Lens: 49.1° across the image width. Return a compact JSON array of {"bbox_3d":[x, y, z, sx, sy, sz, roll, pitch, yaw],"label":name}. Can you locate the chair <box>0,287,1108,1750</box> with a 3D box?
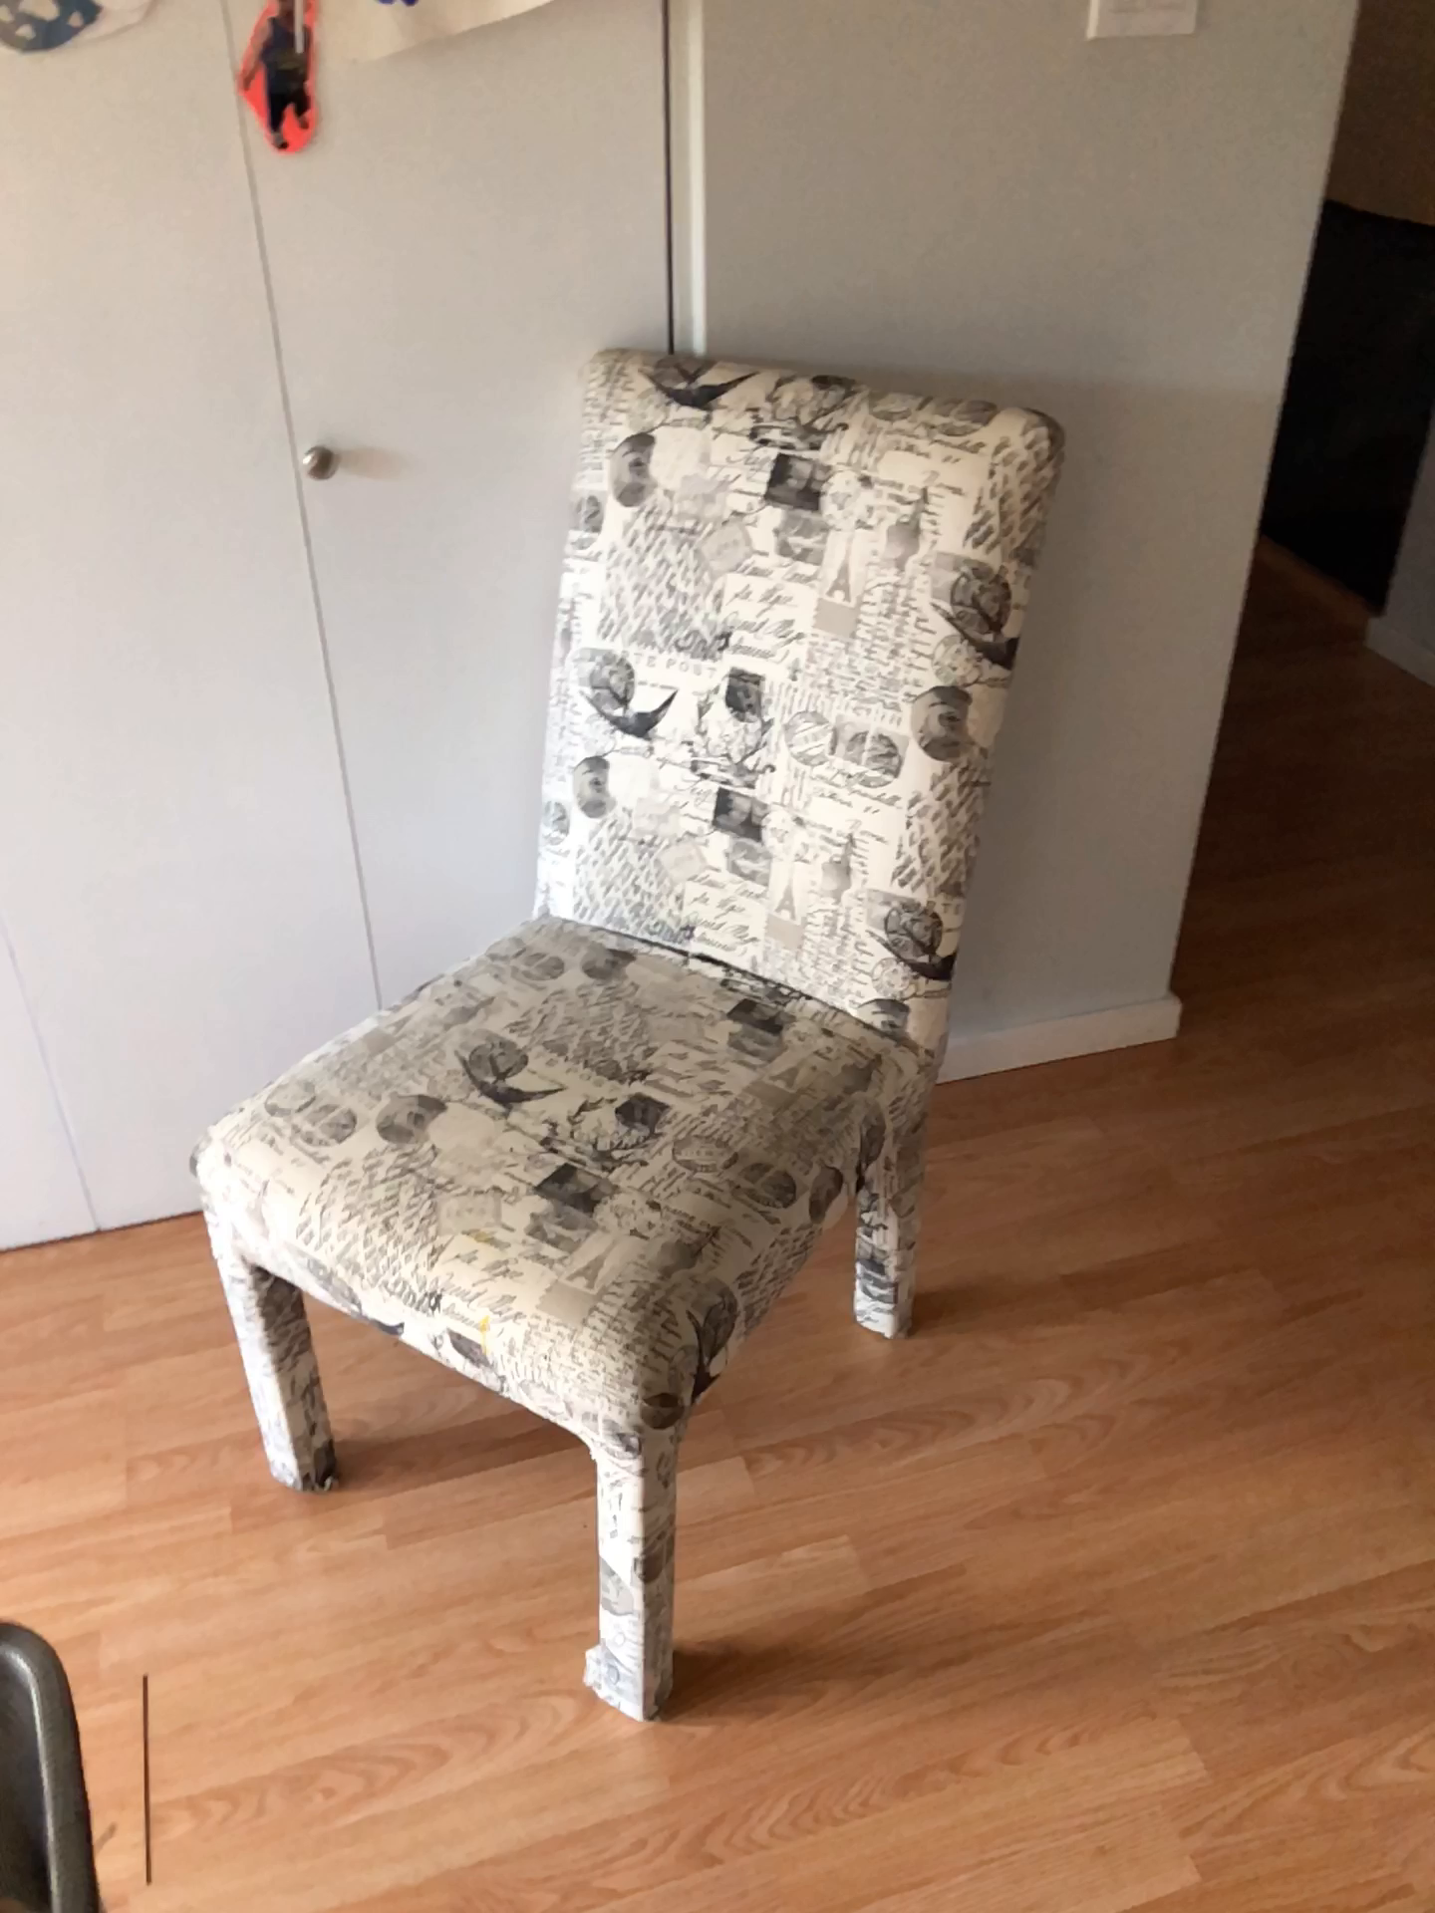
[{"bbox_3d":[-0.093,0.023,1.405,0.521,0.997,0.671,20,39,27],"label":"chair"}]
